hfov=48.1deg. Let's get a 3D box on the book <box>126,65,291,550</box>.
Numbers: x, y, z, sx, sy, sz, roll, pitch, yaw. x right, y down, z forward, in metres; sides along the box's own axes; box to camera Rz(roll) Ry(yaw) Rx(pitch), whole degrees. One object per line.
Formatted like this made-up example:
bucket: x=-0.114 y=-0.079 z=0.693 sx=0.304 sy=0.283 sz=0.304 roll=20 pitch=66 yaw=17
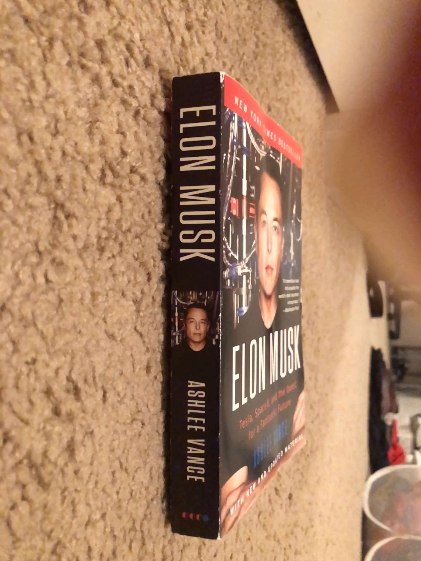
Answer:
book: x=0.008 y=0.011 z=0.265 sx=0.137 sy=0.033 sz=0.202 roll=0 pitch=91 yaw=-63
